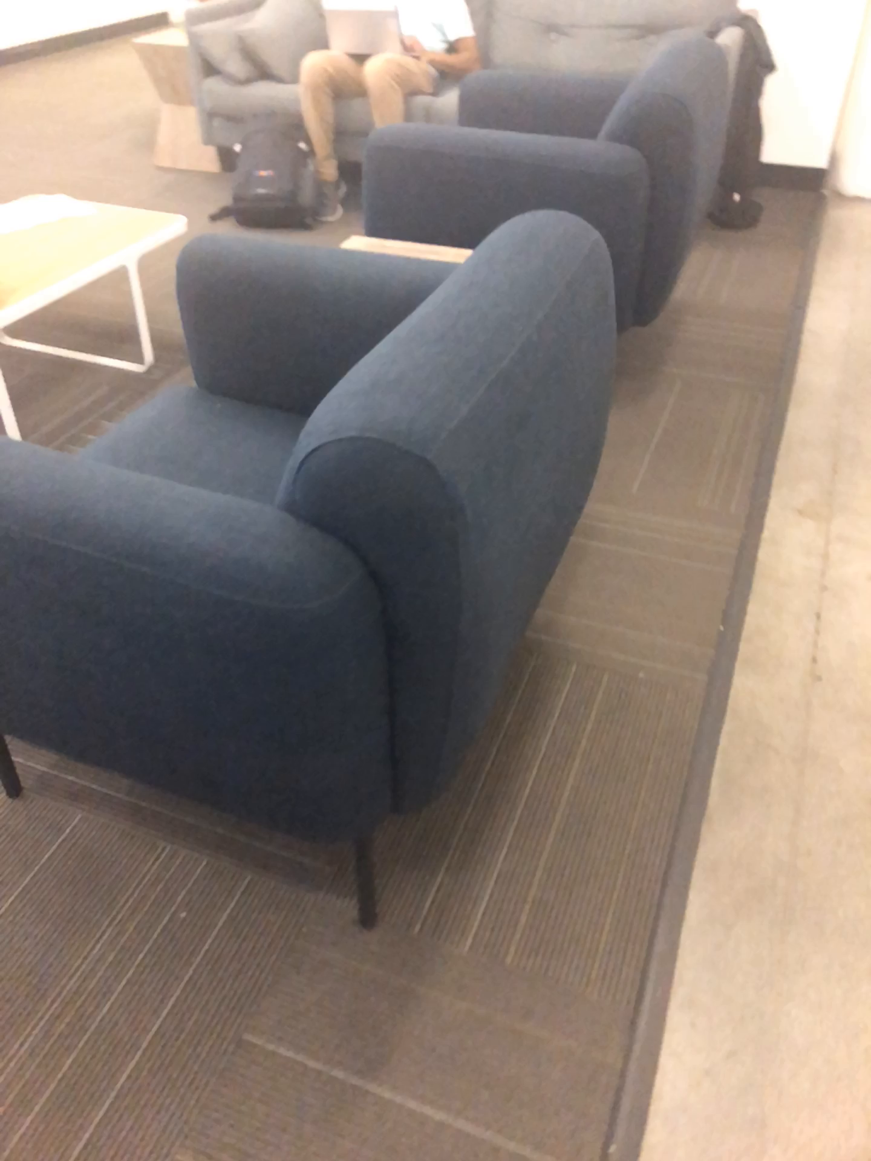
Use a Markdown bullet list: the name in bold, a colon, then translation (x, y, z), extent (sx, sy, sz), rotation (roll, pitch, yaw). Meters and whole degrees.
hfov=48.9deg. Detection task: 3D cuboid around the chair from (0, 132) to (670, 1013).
- **chair**: translation (-0.206, -0.114, 1.451), extent (0.840, 0.783, 0.928), rotation (13, 40, 16)
